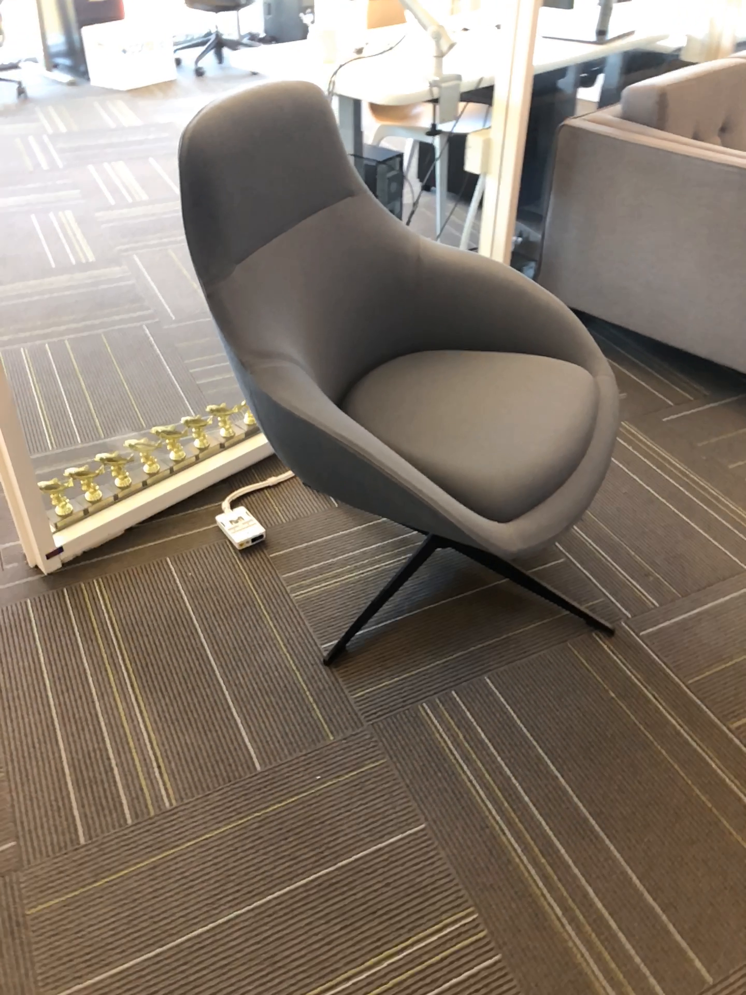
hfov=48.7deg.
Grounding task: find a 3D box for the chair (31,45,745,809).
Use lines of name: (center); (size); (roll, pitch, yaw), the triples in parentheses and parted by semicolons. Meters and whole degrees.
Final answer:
chair: (0.133, -0.234, 1.667); (0.962, 0.995, 0.933); (19, 41, 22)
